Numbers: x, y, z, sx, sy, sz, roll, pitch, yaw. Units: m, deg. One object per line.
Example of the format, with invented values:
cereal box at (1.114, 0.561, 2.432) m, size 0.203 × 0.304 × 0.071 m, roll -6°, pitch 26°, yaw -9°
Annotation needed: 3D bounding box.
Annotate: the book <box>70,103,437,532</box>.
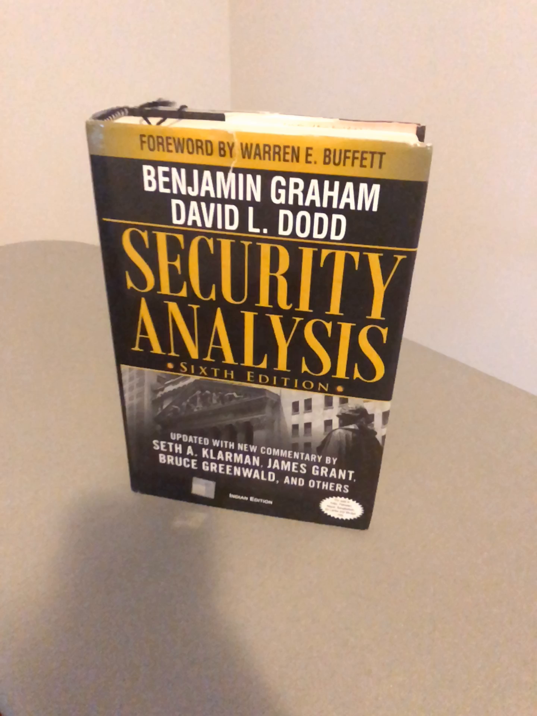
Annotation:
book at (-0.008, -0.013, 0.339) m, size 0.164 × 0.230 × 0.047 m, roll 7°, pitch 32°, yaw 10°
